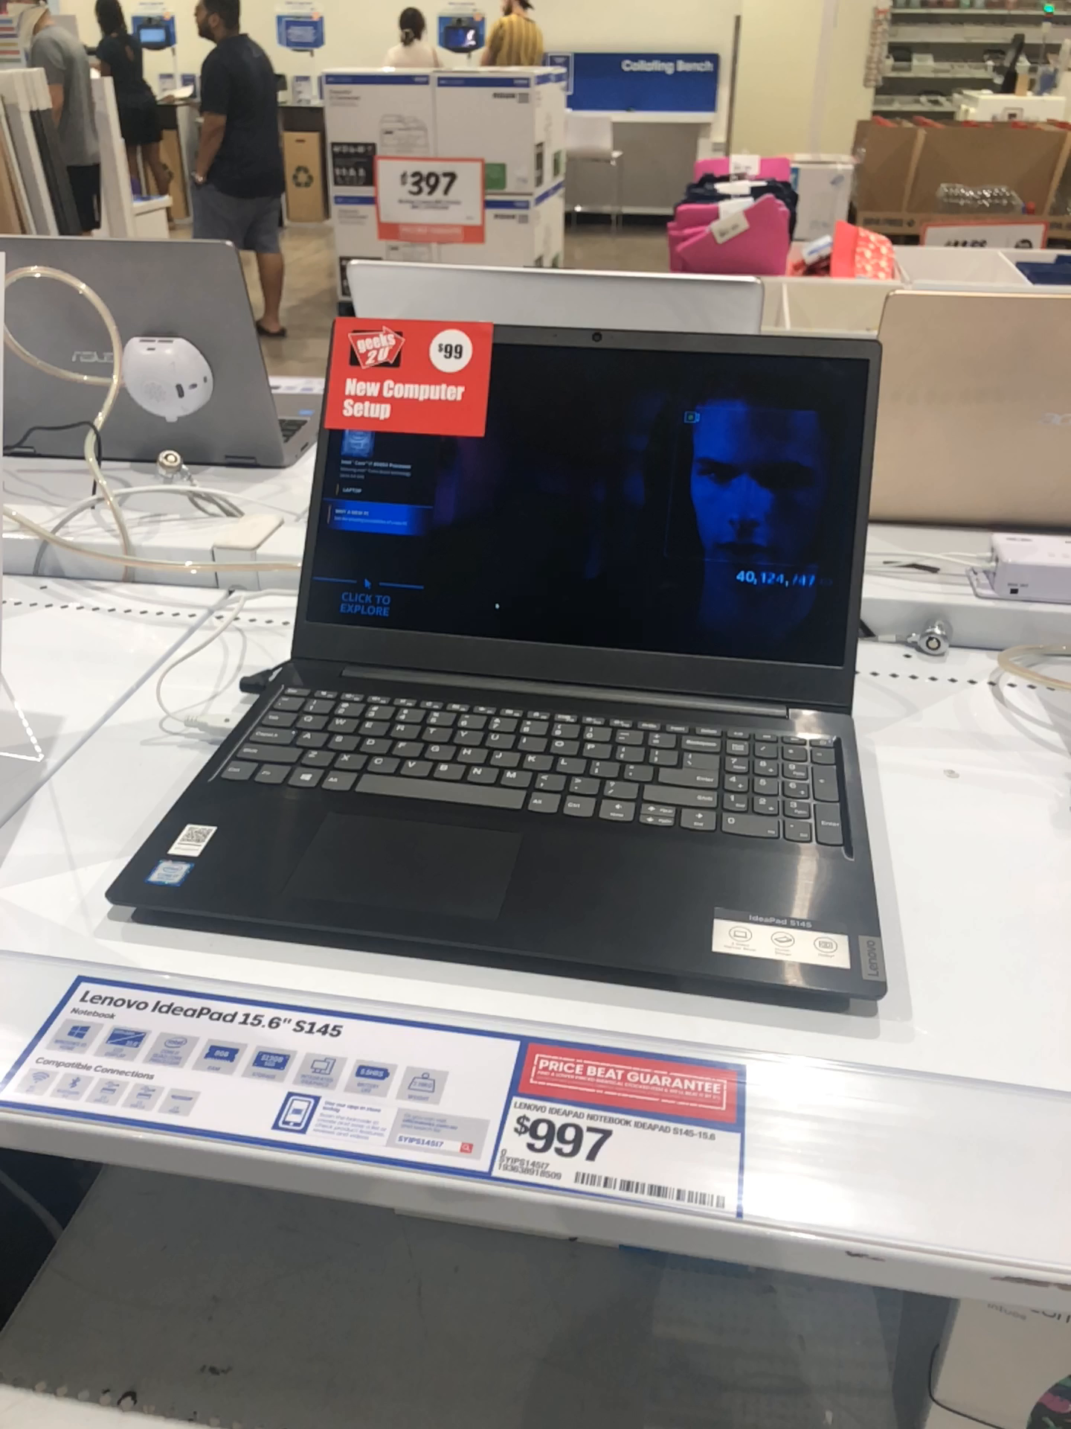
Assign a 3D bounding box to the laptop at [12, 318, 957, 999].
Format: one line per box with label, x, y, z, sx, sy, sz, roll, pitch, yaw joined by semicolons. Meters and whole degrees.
laptop;0.003;-0.070;0.640;0.352;0.192;0.374;5;30;8
